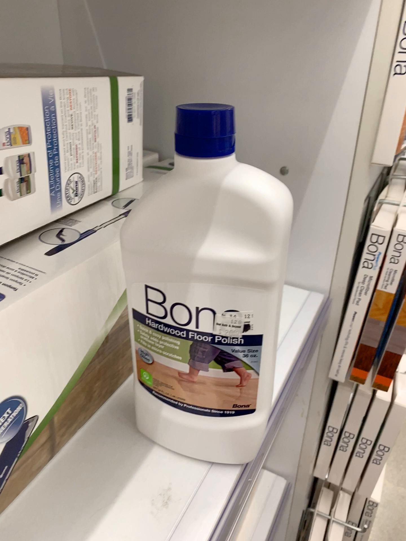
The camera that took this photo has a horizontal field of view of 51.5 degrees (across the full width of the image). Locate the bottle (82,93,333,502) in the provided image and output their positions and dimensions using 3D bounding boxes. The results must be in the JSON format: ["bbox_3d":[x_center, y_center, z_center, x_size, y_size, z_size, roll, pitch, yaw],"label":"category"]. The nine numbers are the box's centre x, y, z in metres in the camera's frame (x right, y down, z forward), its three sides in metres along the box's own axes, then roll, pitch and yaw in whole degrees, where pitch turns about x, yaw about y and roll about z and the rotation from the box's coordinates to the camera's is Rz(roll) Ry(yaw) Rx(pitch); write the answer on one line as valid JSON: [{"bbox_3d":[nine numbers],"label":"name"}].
[{"bbox_3d":[0.004,0.026,0.285,0.120,0.259,0.070,9,29,14],"label":"bottle"}]
